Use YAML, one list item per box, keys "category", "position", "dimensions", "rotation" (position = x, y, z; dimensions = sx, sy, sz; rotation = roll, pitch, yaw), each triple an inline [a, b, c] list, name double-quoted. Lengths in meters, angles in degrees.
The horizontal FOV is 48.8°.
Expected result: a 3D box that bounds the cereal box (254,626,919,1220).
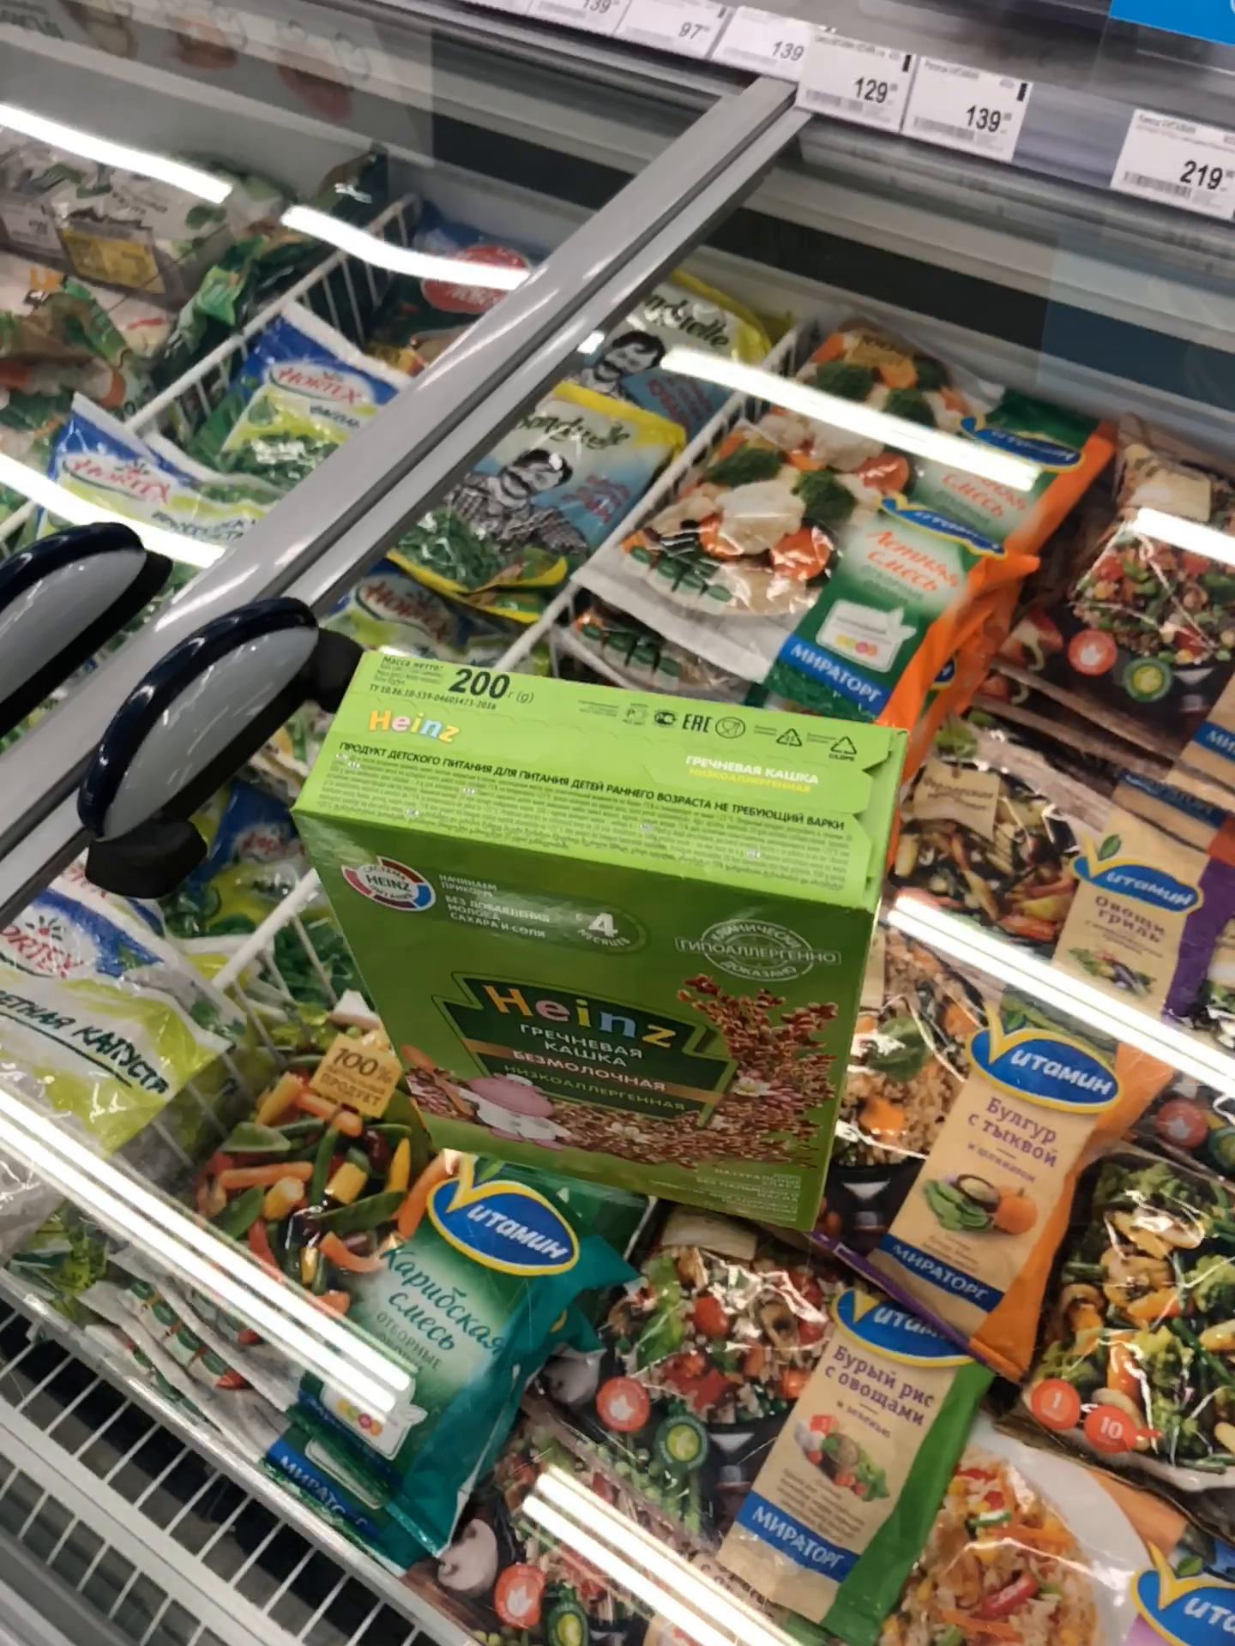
- category: "cereal box"
  position: [-0.001, 0.039, 0.380]
  dimensions: [0.140, 0.189, 0.050]
  rotation: [10, 56, 11]
